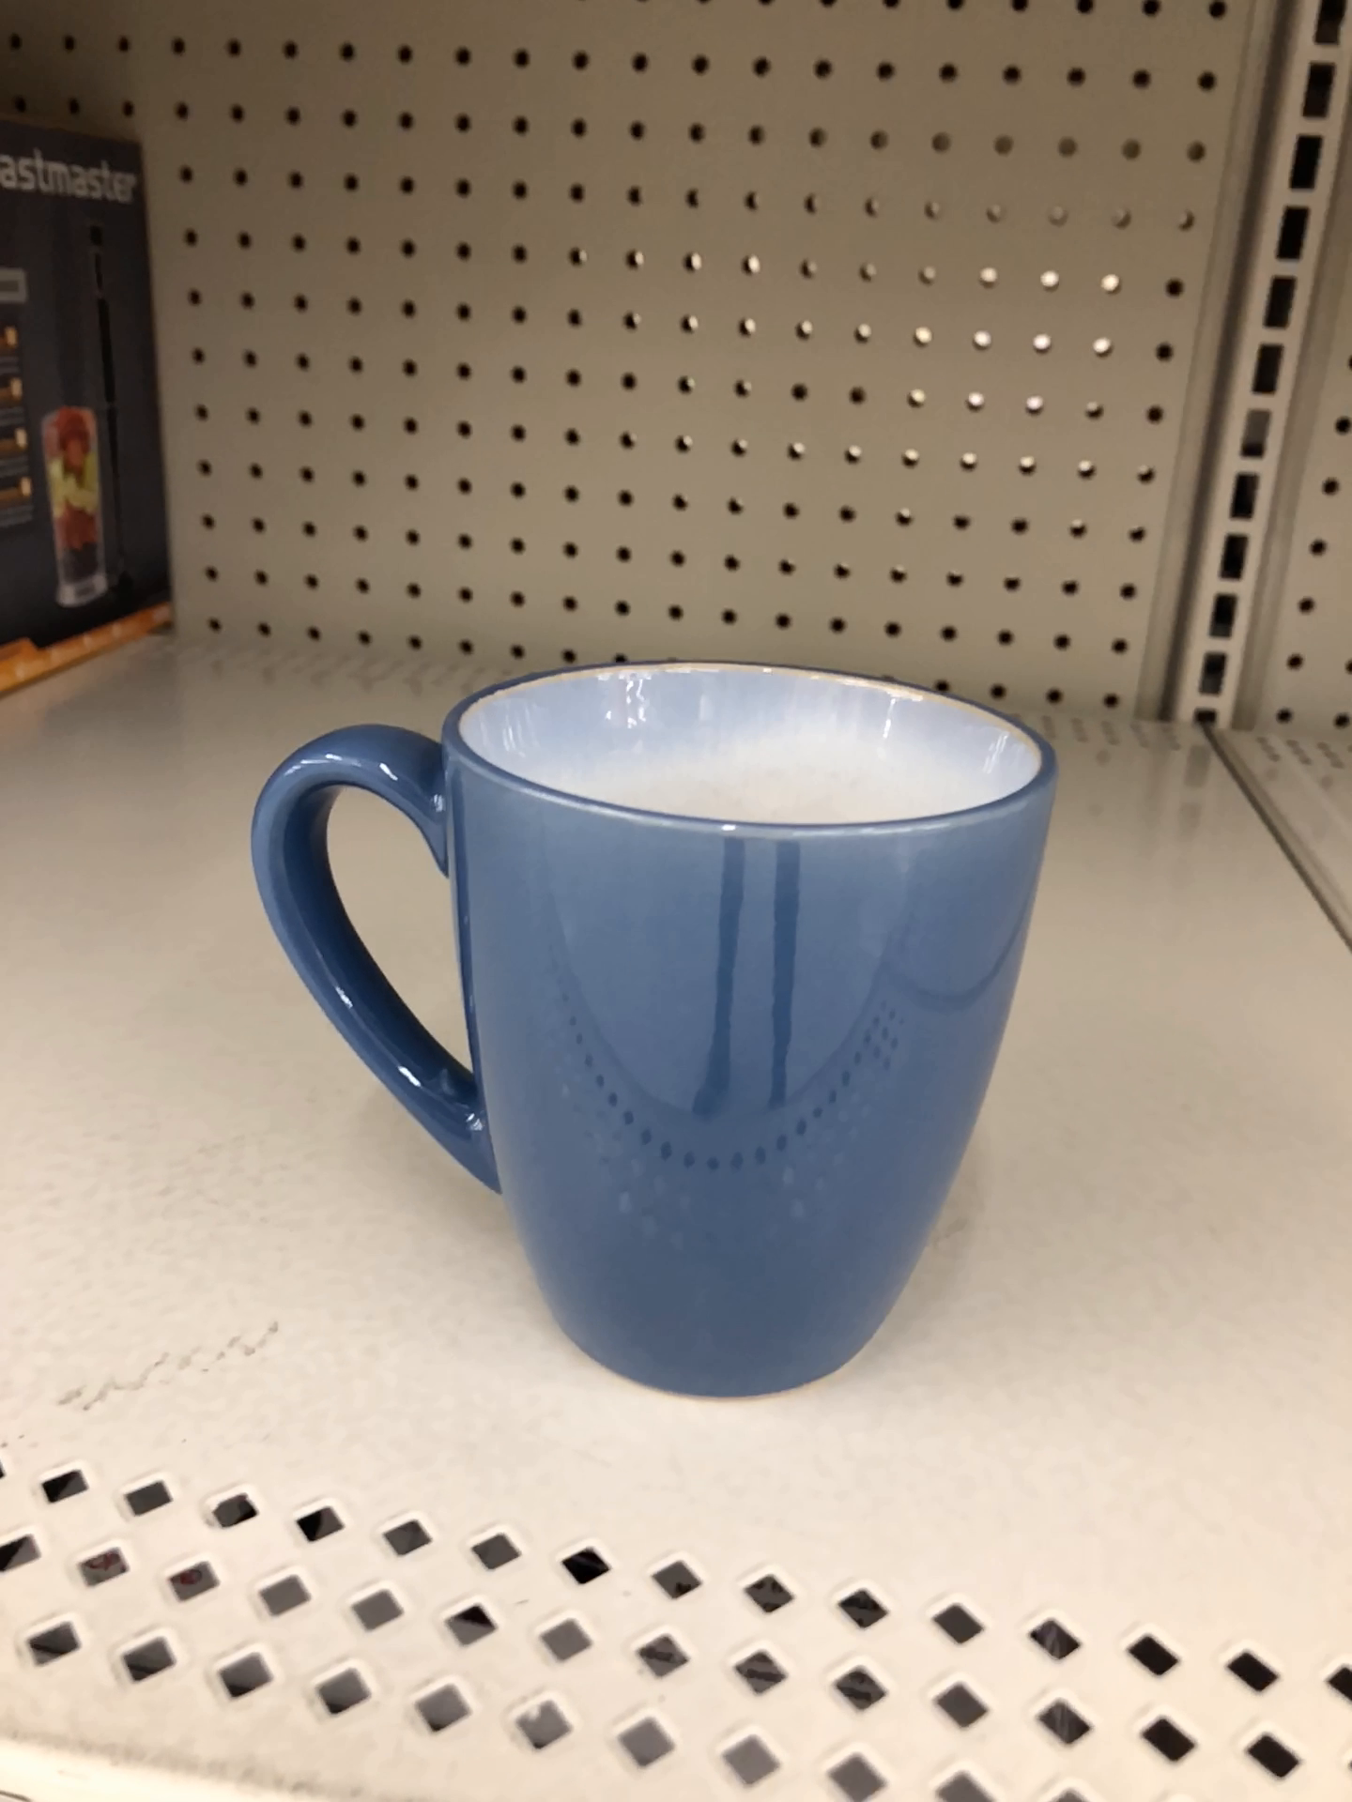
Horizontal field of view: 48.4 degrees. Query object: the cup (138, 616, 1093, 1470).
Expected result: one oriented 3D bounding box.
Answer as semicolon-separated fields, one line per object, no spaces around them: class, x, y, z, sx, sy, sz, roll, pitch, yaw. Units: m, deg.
cup;-0.004;0.014;0.258;0.127;0.098;0.097;6;22;9
